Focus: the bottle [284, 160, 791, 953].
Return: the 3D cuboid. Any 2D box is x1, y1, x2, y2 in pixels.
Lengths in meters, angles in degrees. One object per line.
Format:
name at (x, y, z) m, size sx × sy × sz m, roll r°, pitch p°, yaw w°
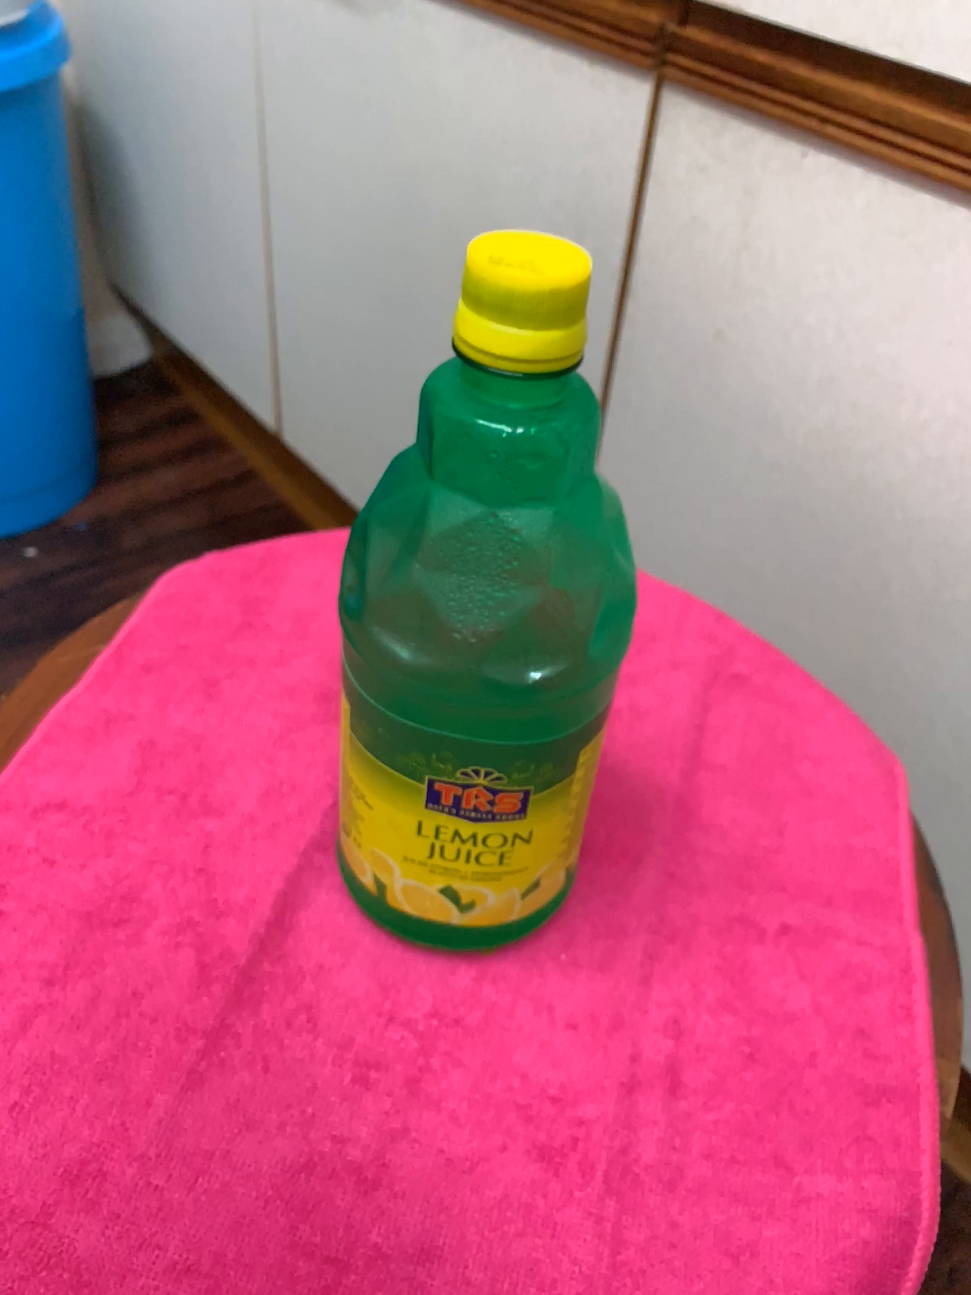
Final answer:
bottle at (0.001, -0.009, 0.309) m, size 0.100 × 0.228 × 0.091 m, roll 2°, pitch 43°, yaw -4°
